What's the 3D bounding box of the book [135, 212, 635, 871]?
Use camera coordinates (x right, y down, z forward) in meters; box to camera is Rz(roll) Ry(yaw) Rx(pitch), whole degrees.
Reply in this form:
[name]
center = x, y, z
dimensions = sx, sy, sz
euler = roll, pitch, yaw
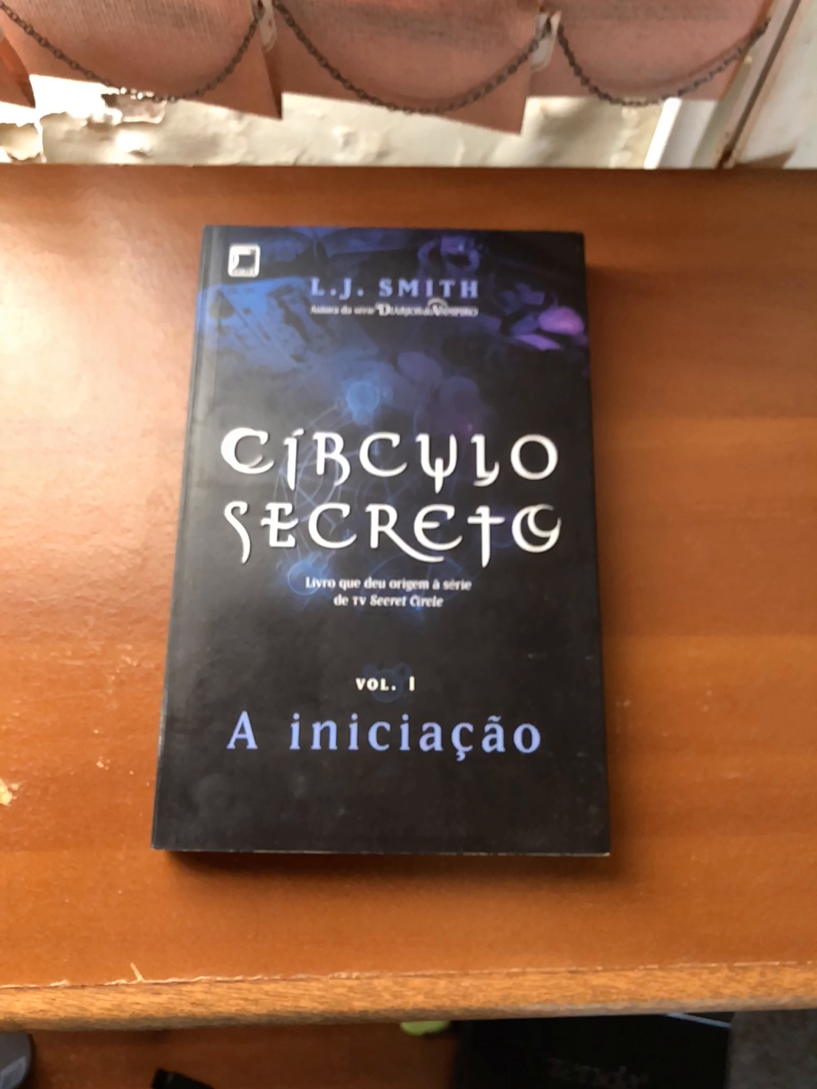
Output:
[book]
center = -0.006, -0.008, 0.299
dimensions = 0.140, 0.024, 0.214
euler = 1, 73, -2
